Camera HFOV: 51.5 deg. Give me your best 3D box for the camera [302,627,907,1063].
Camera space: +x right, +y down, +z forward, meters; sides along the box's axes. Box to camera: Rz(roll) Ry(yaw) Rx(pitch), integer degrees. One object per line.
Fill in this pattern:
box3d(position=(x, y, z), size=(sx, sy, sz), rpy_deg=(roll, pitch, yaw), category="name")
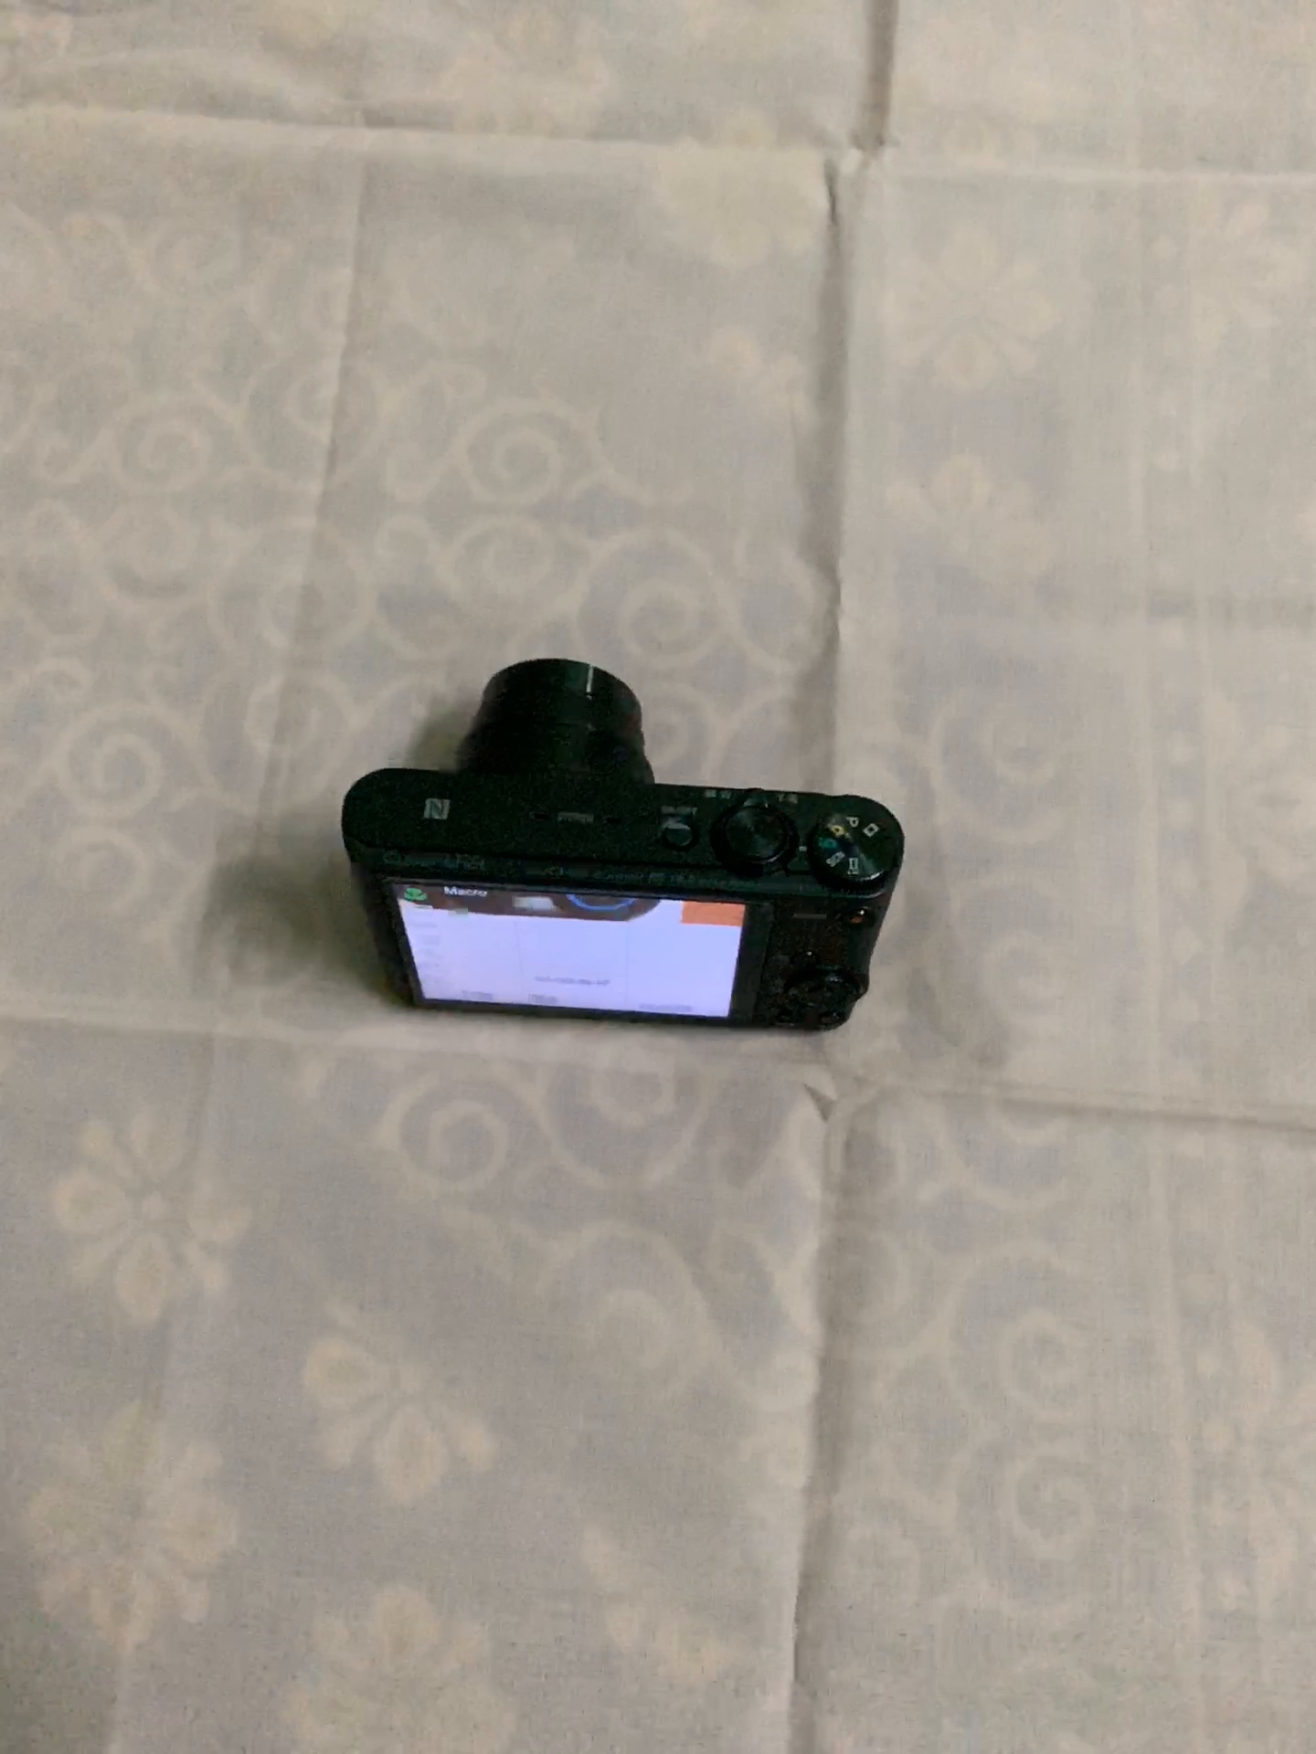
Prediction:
box3d(position=(-0.008, -0.004, 0.265), size=(0.100, 0.060, 0.058), rpy_deg=(3, 65, 0), category="camera")
